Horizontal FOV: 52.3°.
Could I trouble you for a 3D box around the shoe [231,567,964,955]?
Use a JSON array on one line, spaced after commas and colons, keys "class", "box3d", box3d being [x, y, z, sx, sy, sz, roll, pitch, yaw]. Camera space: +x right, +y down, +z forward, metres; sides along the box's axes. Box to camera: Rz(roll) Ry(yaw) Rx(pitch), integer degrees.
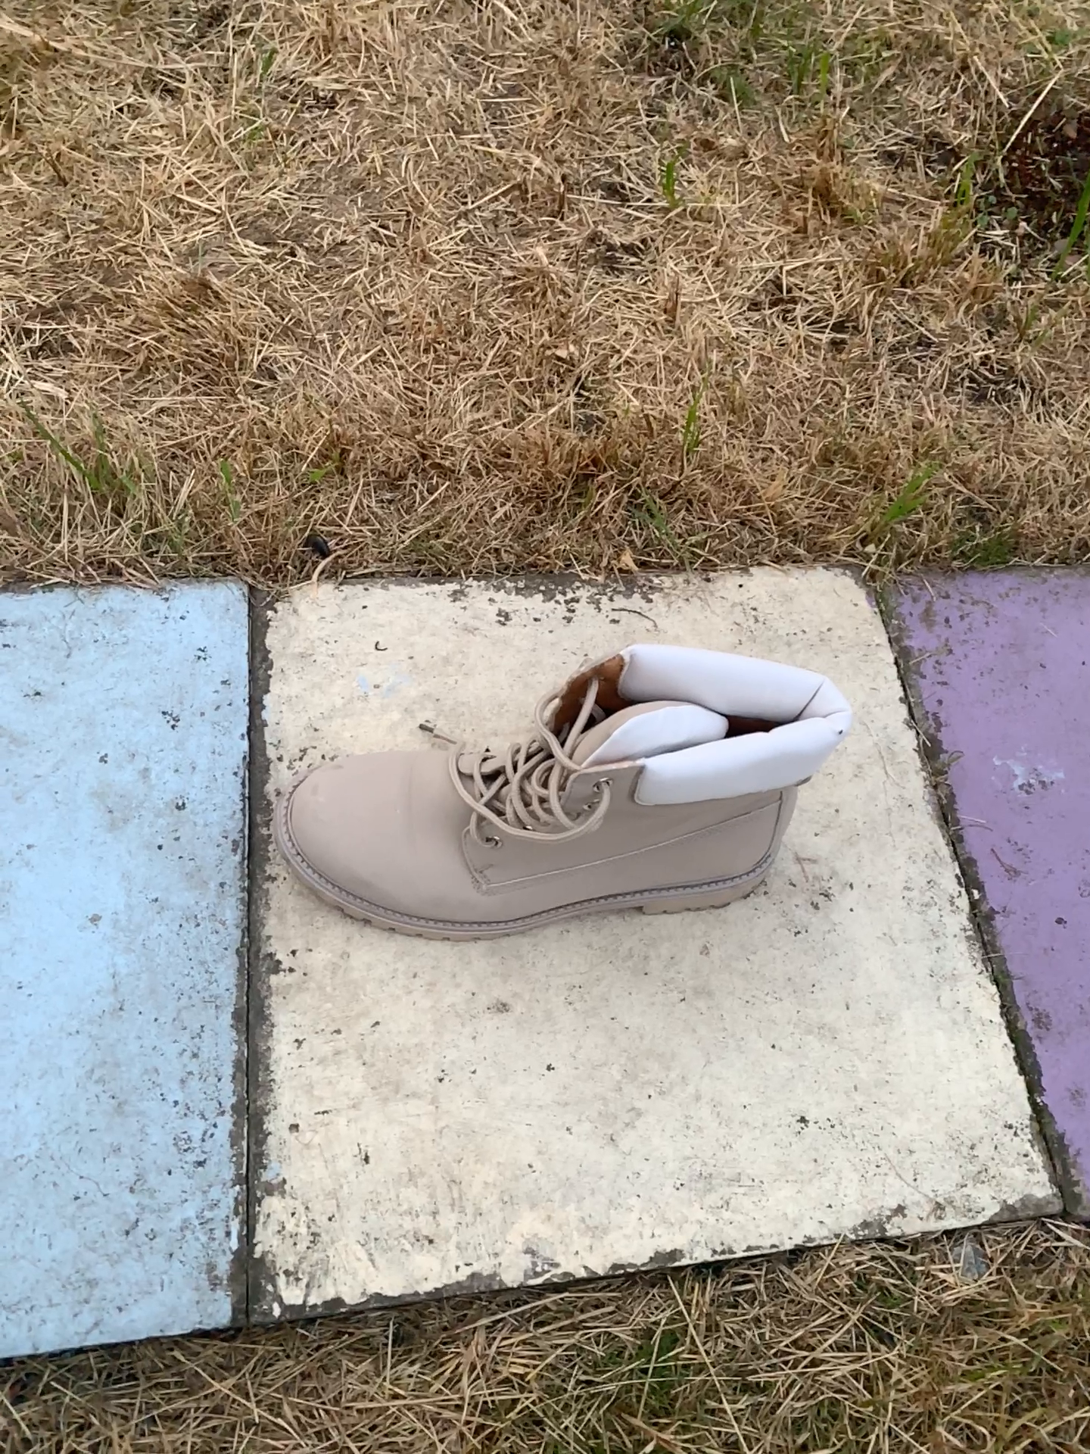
[{"class": "shoe", "box3d": [0.010, 0.031, 0.527, 0.280, 0.199, 0.101, 2, 63, -8]}]
